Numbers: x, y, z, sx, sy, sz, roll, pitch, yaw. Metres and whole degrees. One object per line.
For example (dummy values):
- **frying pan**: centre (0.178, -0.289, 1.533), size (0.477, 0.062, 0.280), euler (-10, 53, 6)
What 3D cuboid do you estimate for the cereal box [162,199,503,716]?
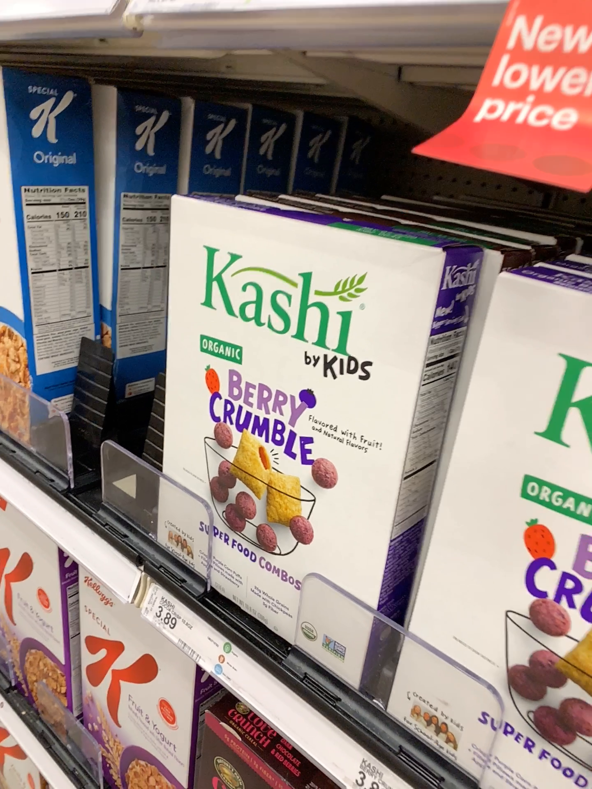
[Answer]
- **cereal box**: centre (-0.001, 0.033, 0.393), size (0.190, 0.279, 0.050), euler (23, 27, 33)
